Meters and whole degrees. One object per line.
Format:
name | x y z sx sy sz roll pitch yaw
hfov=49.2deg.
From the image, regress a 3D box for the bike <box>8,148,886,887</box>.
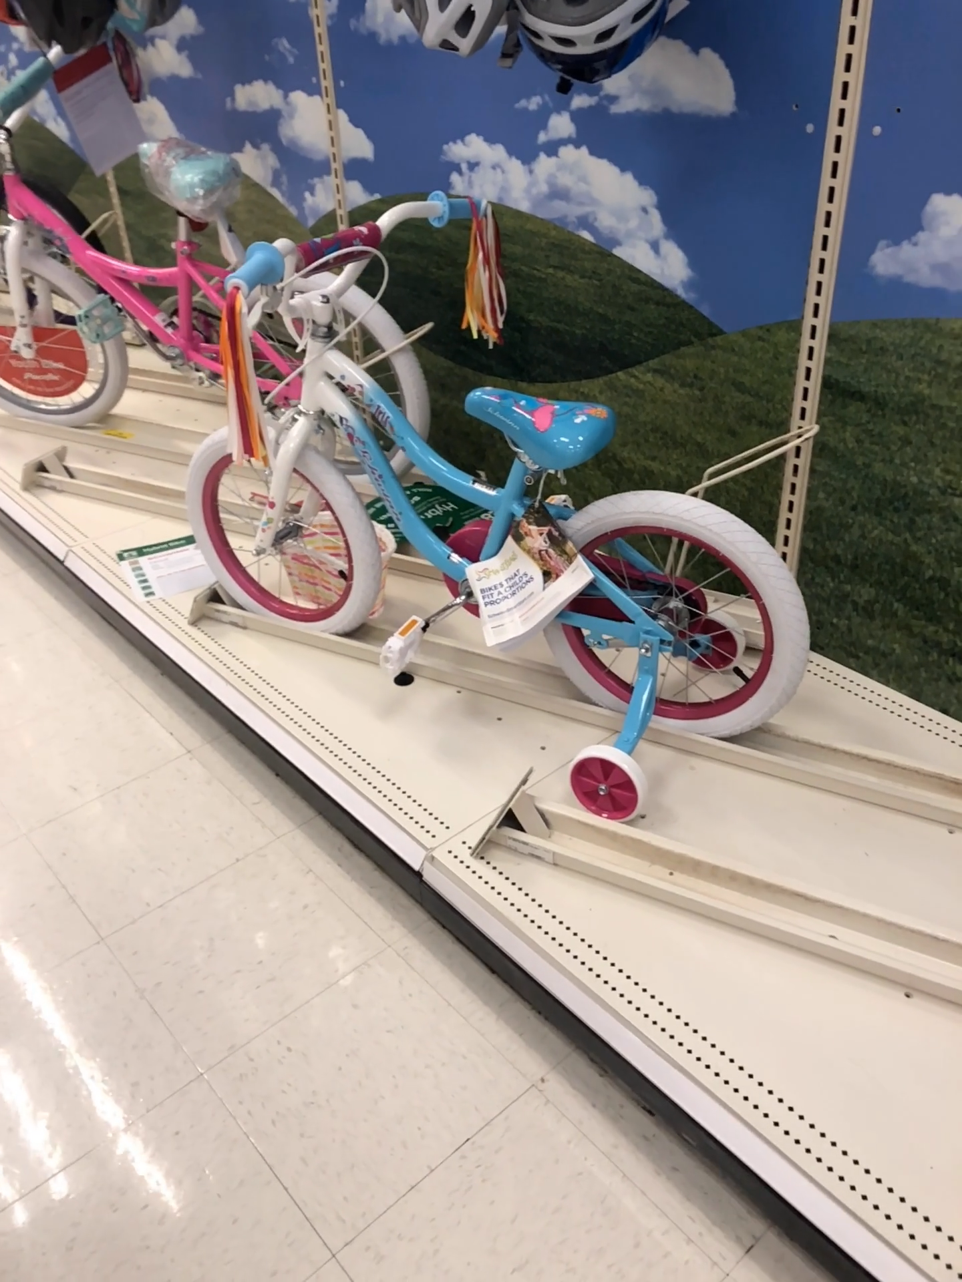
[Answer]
bike | -0.037 -0.267 1.596 1.091 0.723 0.535 16 38 24
